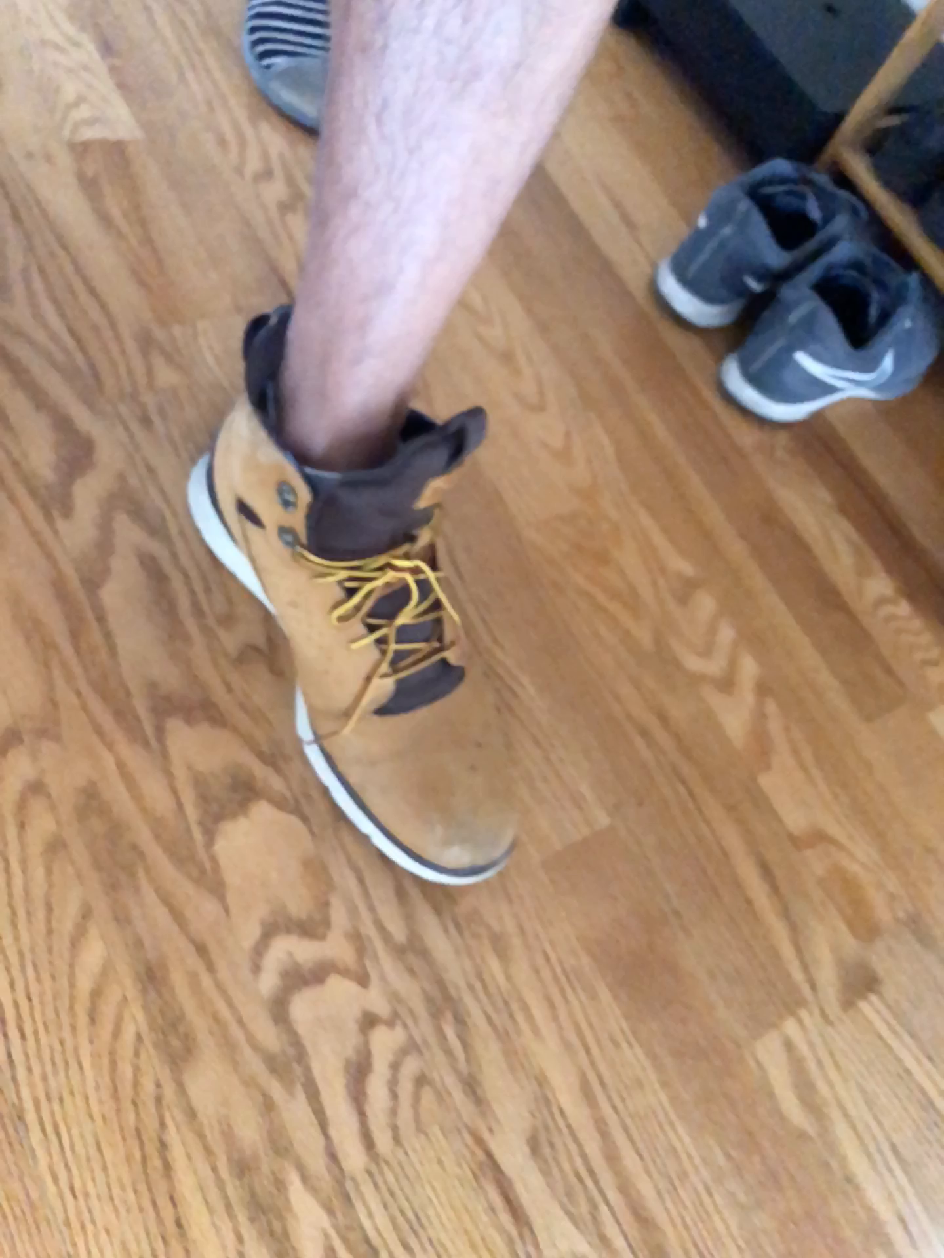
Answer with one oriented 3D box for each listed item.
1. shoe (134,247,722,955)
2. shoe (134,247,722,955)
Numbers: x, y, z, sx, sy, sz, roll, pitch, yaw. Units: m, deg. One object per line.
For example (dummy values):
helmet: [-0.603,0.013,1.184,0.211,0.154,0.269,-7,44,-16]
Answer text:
shoe: [-0.041,-0.021,0.535,0.130,0.139,0.310,-21,71,-32]
shoe: [-0.041,-0.021,0.535,0.130,0.139,0.310,-21,71,-32]
